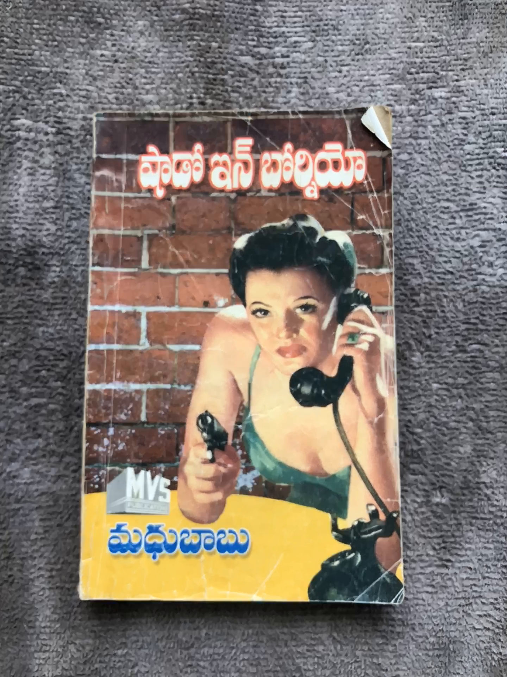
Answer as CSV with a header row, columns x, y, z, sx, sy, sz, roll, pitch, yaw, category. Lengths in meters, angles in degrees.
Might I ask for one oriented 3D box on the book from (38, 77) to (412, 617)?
x,y,z,sx,sy,sz,roll,pitch,yaw,category
-0.007,0.001,0.180,0.100,0.040,0.150,1,85,-1,book
